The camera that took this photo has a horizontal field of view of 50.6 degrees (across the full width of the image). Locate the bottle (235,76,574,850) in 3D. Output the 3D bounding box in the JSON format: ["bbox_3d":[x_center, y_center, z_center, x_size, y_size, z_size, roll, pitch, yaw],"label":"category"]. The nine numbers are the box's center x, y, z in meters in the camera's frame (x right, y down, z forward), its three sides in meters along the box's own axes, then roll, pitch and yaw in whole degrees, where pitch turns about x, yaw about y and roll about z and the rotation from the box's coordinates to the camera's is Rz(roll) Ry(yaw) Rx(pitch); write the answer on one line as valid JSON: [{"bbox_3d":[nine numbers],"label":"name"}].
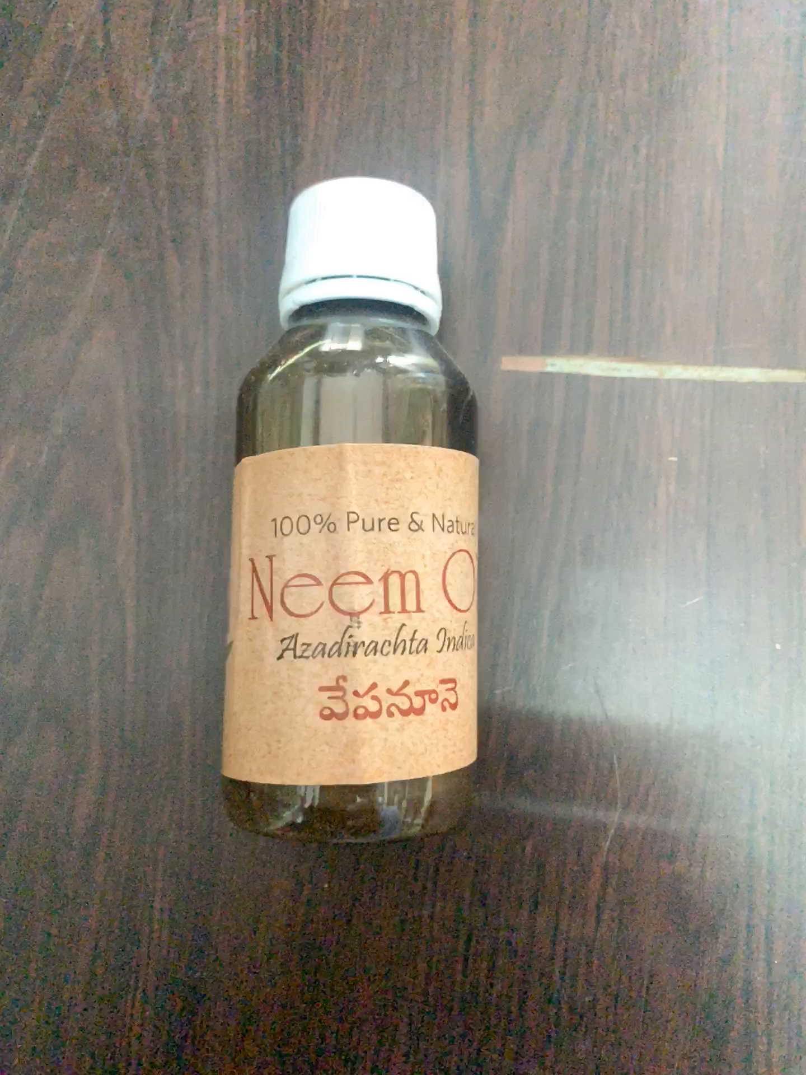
[{"bbox_3d":[-0.003,-0.012,0.155,0.050,0.040,0.120,1,82,-15],"label":"bottle"}]
